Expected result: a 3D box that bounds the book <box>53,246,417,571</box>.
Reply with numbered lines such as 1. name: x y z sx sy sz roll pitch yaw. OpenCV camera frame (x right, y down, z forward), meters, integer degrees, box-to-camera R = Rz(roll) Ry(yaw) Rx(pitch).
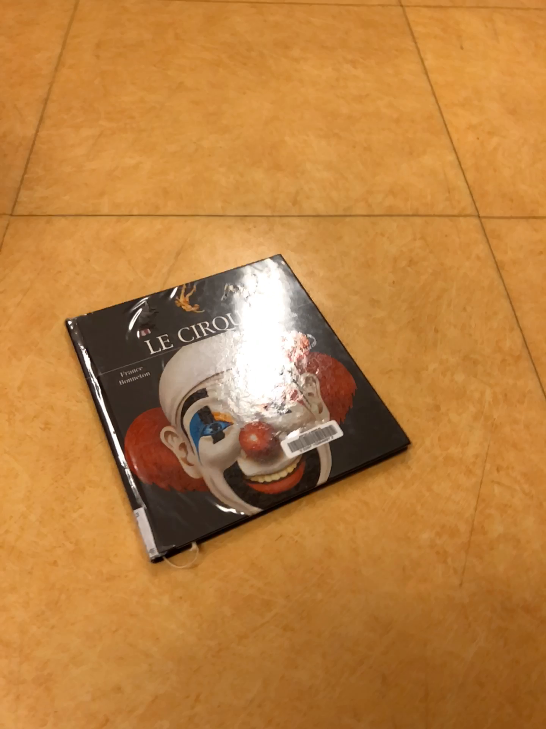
1. book: -0.039 0.012 0.486 0.215 0.012 0.233 -20 57 -17
